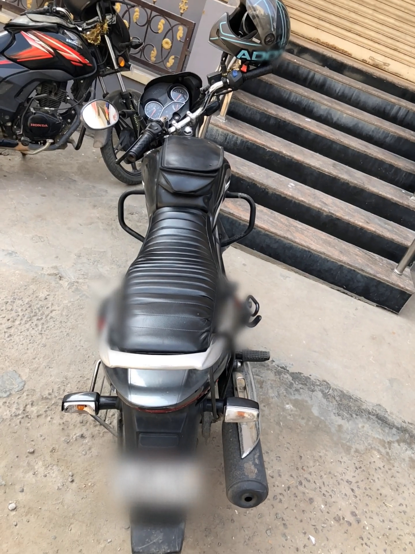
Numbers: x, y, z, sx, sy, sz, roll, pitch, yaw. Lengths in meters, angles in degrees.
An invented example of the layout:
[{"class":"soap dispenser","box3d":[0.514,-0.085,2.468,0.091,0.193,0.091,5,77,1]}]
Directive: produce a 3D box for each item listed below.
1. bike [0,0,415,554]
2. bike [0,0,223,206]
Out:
[{"class":"bike","box3d":[-0.265,-0.284,1.606,0.746,1.156,1.745,12,36,-17]},{"class":"bike","box3d":[-0.884,-1.026,2.448,1.604,1.056,0.685,-9,43,-42]}]
